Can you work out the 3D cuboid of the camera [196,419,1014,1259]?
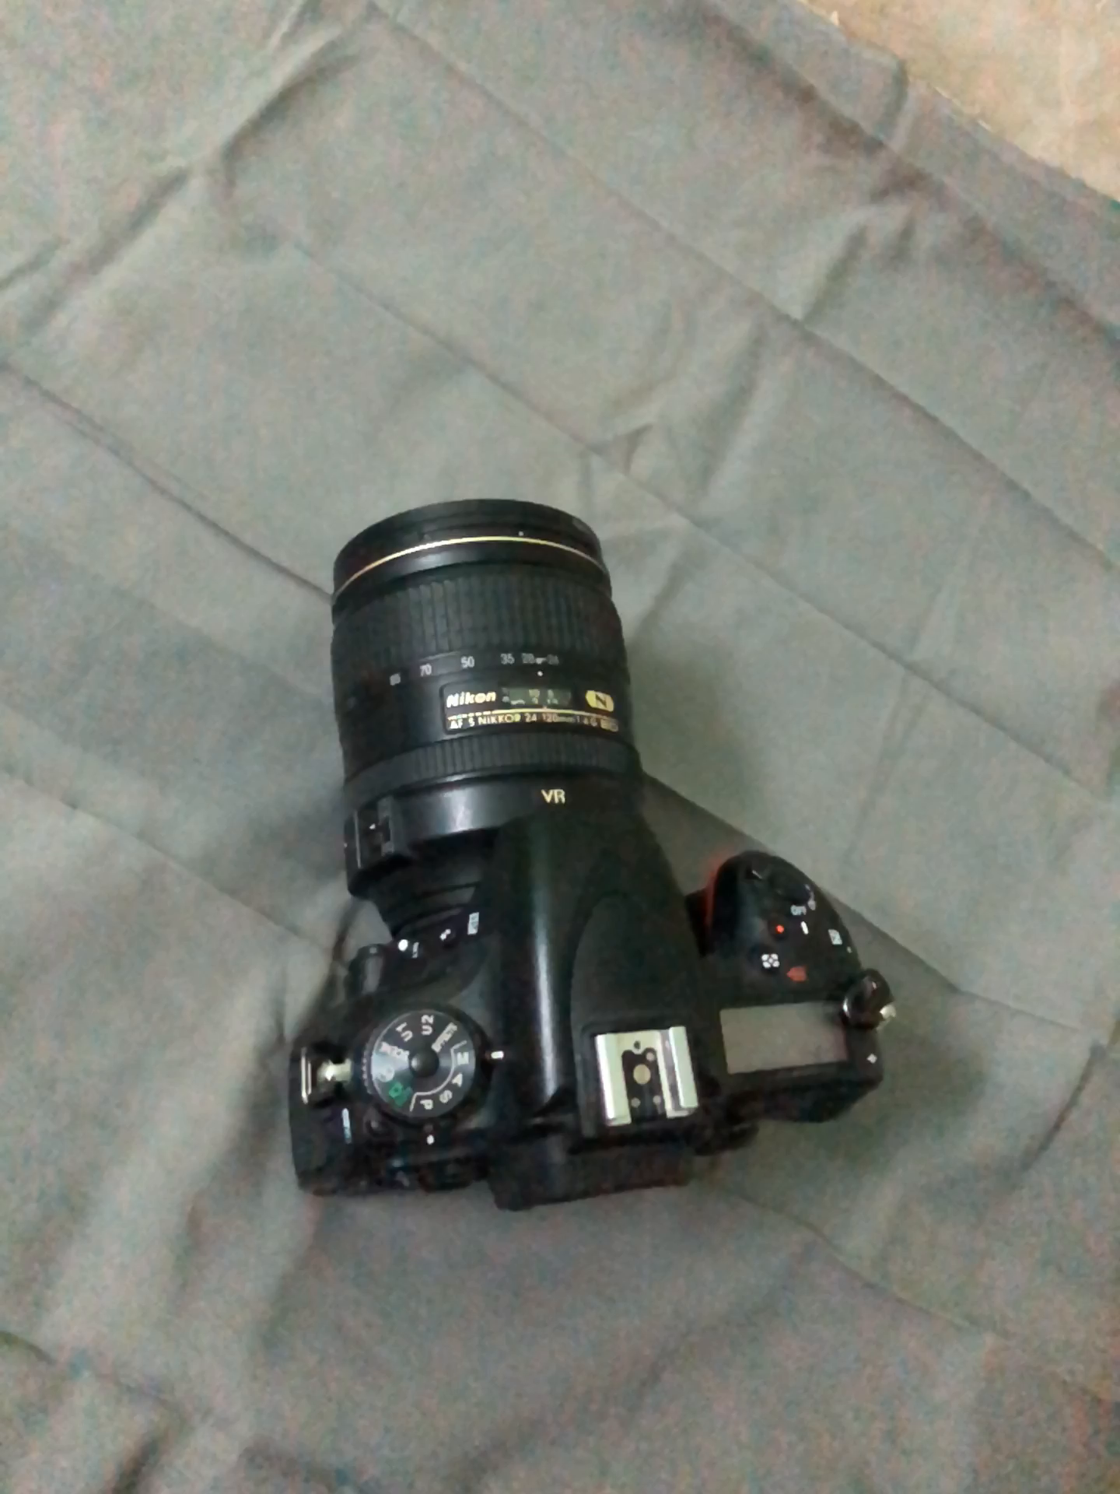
[{"bbox_3d":[-0.006,0.030,0.321,0.146,0.134,0.164,-1,71,-23],"label":"camera"}]
